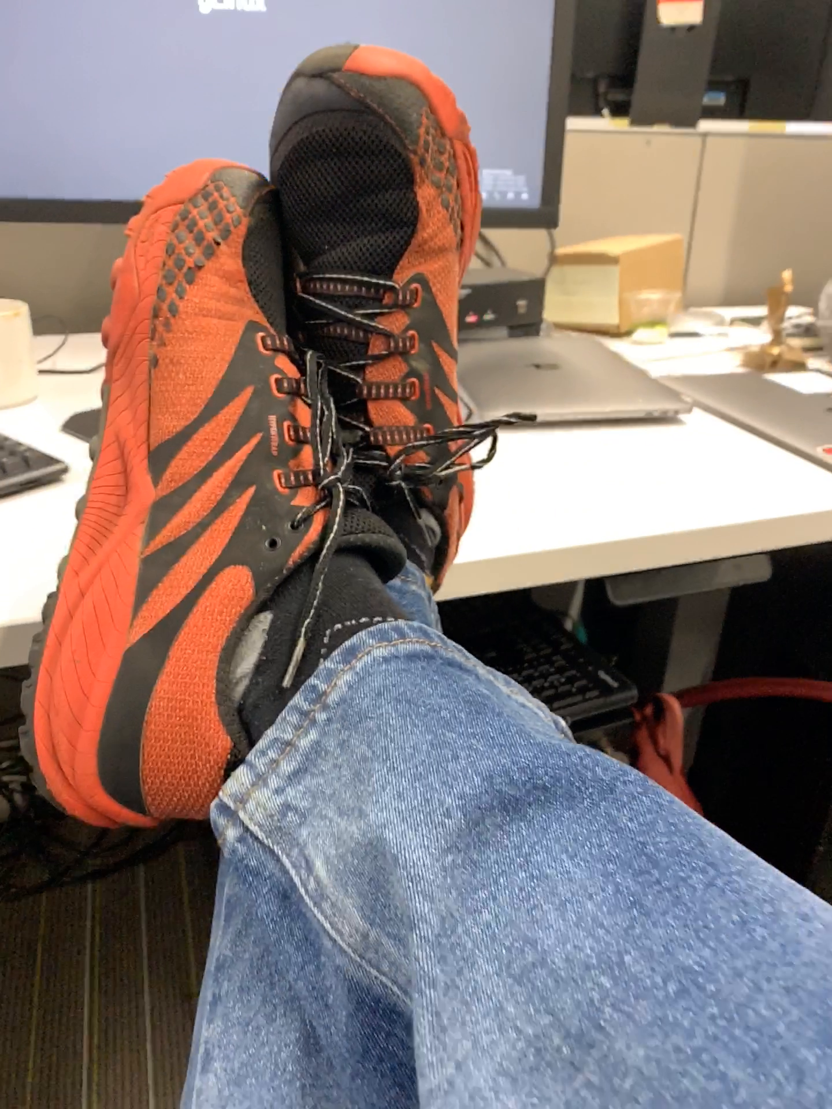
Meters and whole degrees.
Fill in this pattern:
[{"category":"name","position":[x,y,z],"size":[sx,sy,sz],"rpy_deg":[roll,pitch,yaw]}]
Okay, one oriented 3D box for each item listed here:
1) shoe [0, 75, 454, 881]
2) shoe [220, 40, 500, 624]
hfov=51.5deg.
[{"category":"shoe","position":[-0.079,-0.037,0.359],"size":[0.132,0.289,0.091],"rpy_deg":[7,-8,14]},{"category":"shoe","position":[-0.016,-0.105,0.448],"size":[0.107,0.271,0.083],"rpy_deg":[4,28,12]}]
